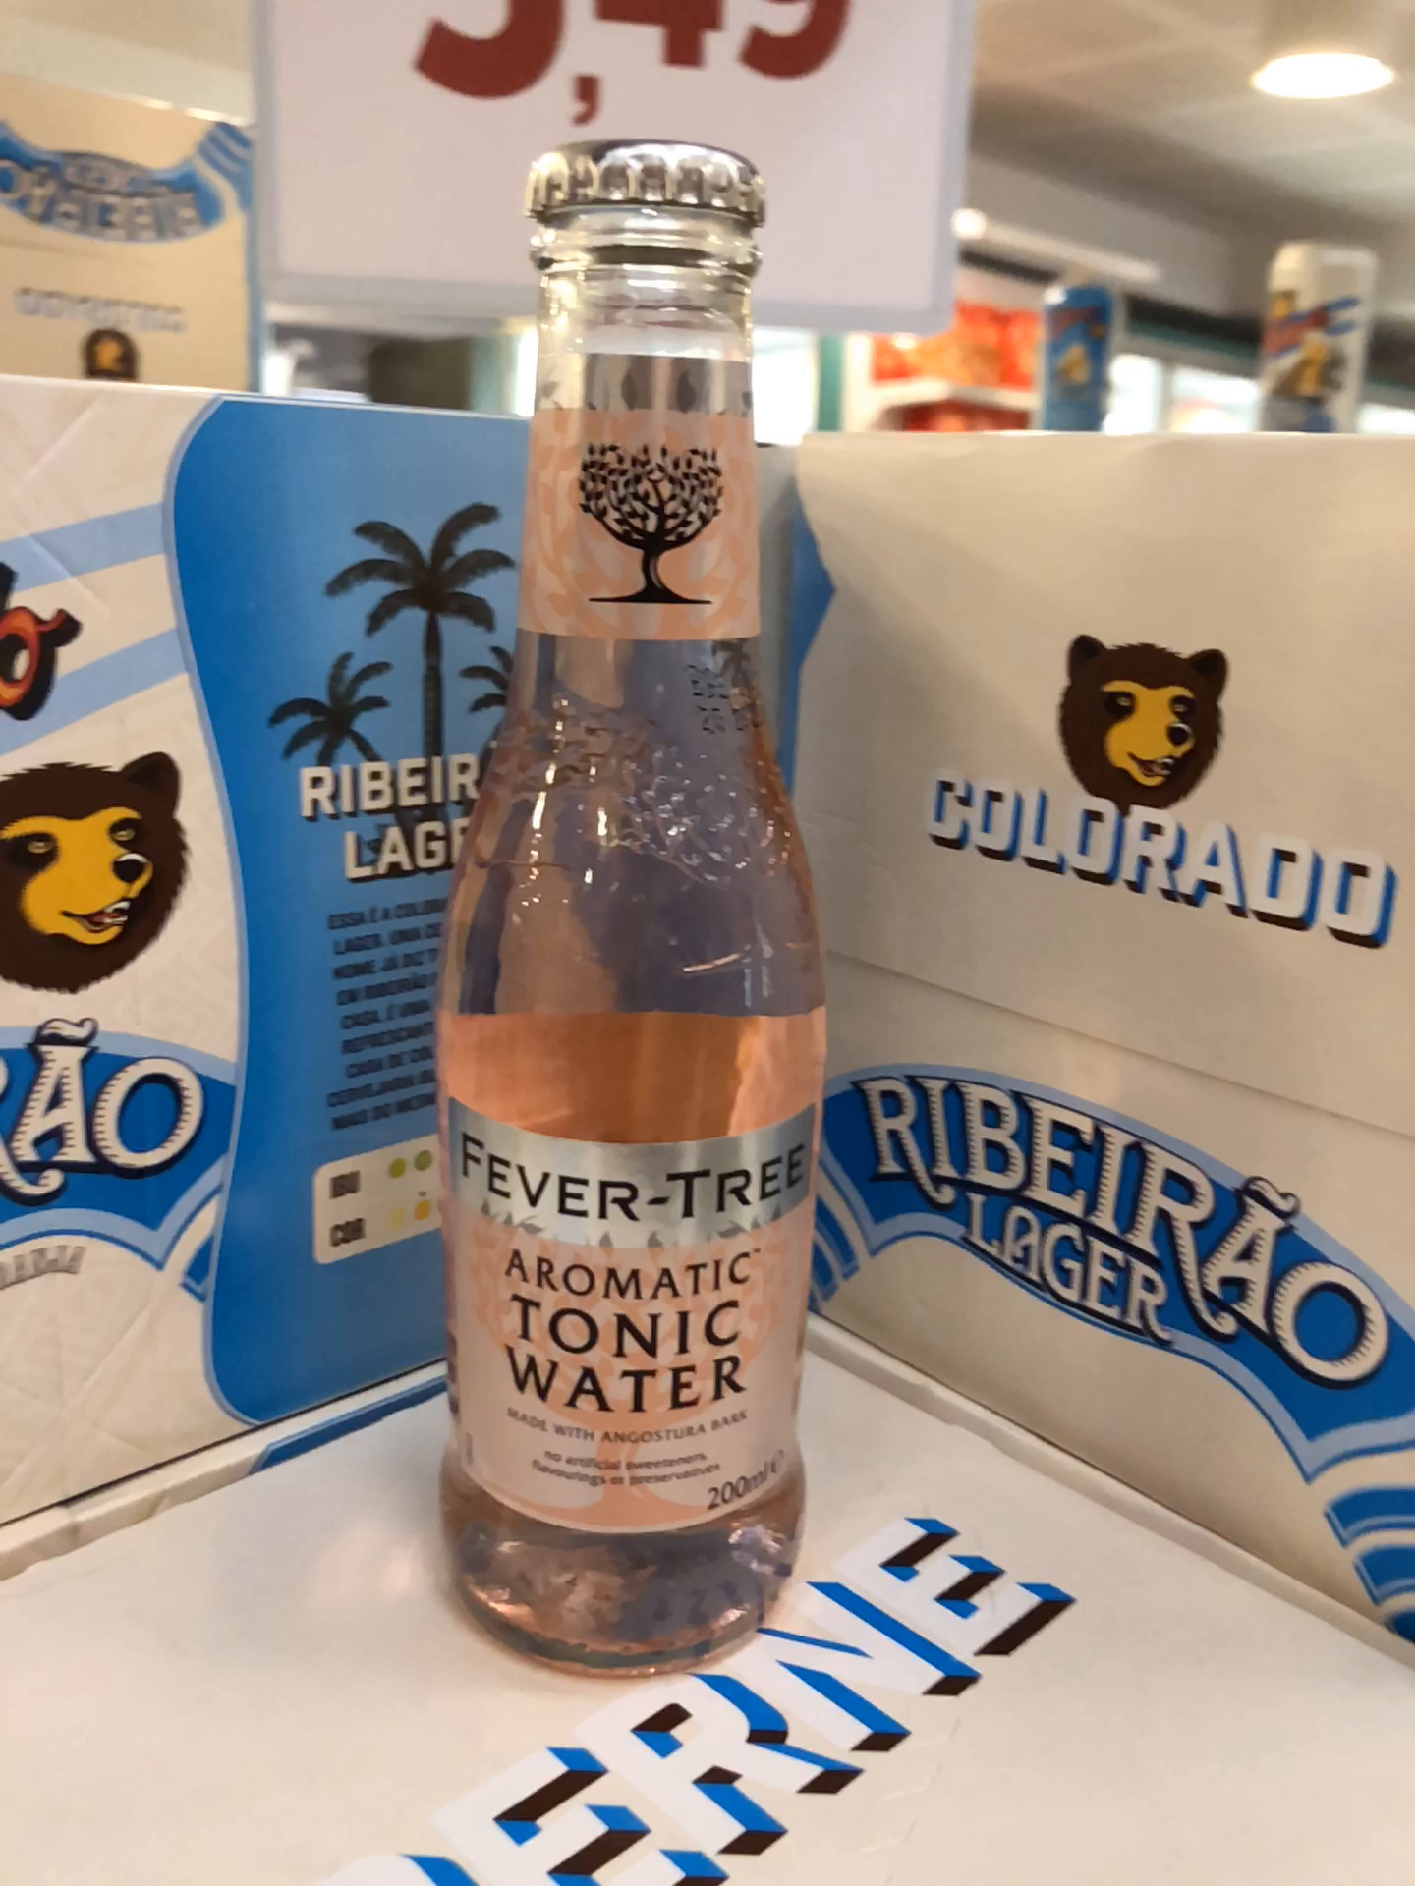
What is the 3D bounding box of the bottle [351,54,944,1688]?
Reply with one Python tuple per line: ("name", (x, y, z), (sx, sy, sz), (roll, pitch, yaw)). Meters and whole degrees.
("bottle", (-0.011, -0.003, 0.206), (0.060, 0.189, 0.050), (2, 14, -2))
